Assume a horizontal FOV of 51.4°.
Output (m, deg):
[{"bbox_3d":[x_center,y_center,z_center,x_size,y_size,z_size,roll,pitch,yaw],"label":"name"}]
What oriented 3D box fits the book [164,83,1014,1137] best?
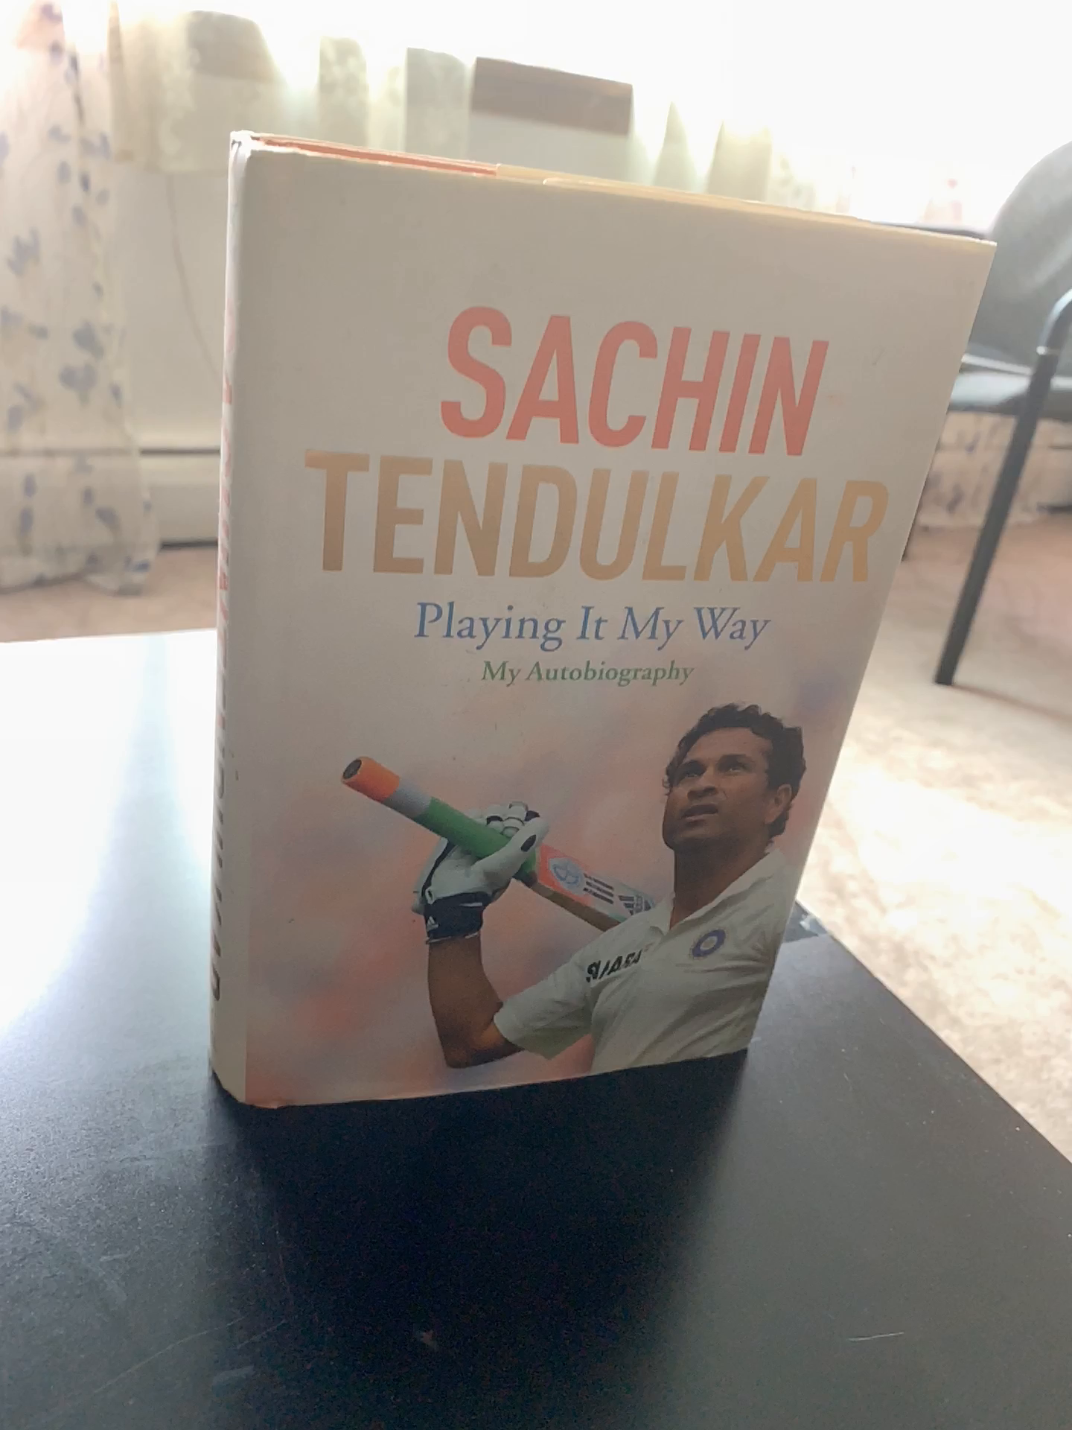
[{"bbox_3d":[-0.003,-0.014,0.287,0.170,0.238,0.060,-2,28,-19],"label":"book"}]
